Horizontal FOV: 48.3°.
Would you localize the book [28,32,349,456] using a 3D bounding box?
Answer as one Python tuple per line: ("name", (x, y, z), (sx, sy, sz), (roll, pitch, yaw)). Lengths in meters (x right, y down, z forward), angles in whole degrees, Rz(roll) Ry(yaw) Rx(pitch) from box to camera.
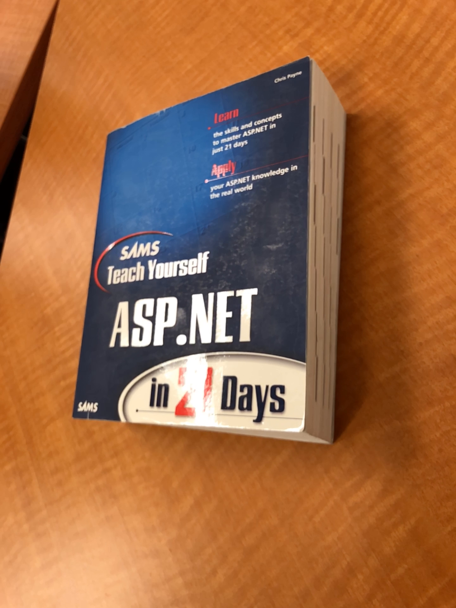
("book", (-0.028, -0.032, 0.358), (0.201, 0.070, 0.240), (-2, 77, 33))
